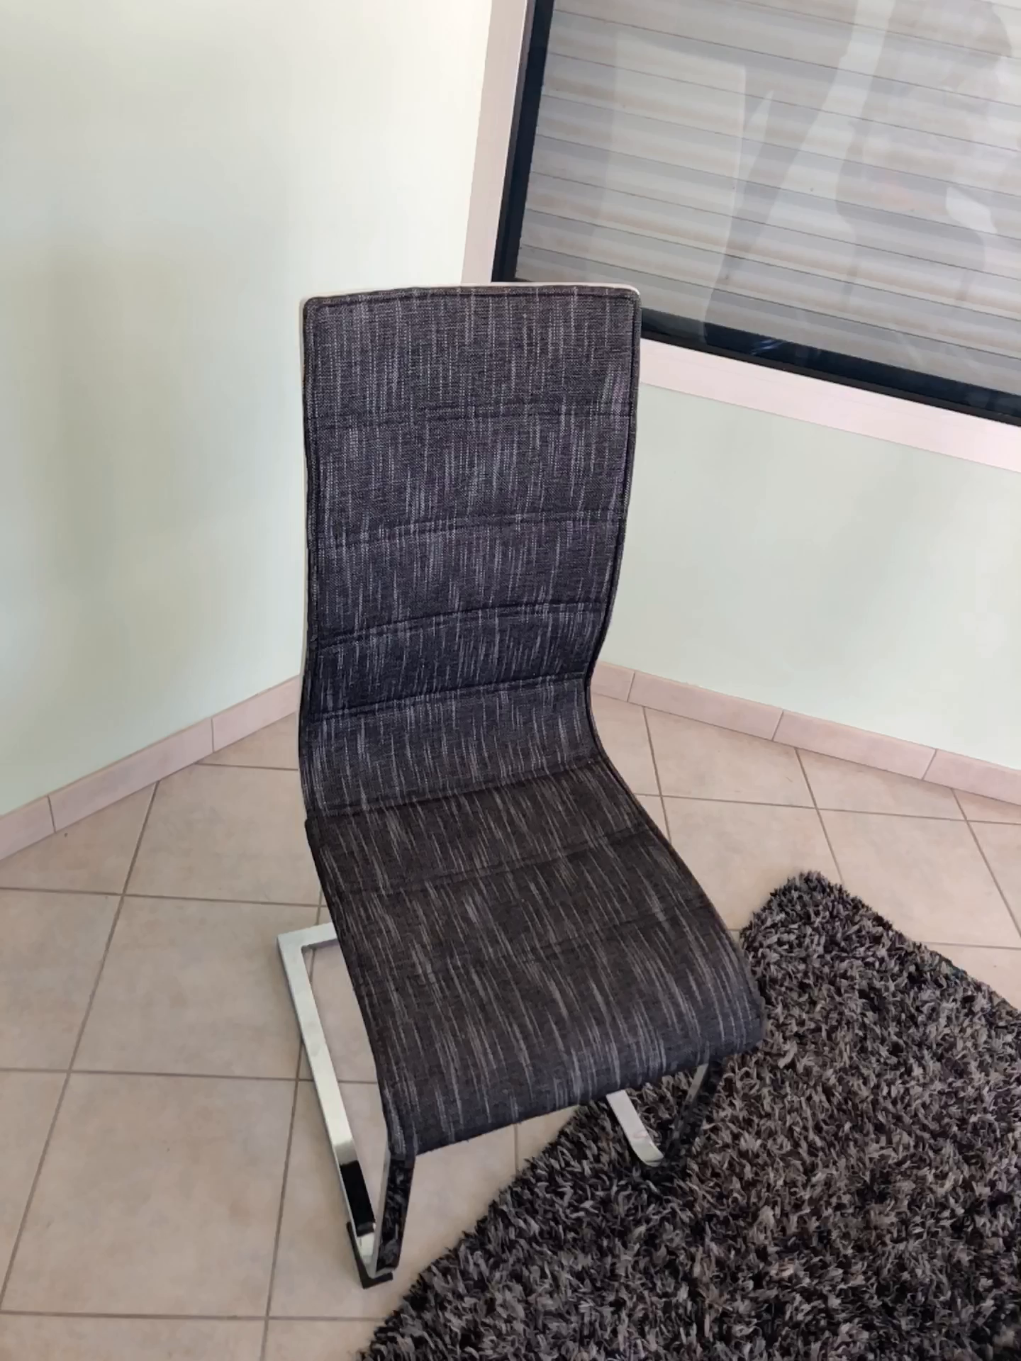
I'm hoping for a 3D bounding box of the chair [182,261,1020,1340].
[{"bbox_3d":[-0.028,0.133,1.214,0.502,0.964,0.581,-9,42,-23],"label":"chair"}]
